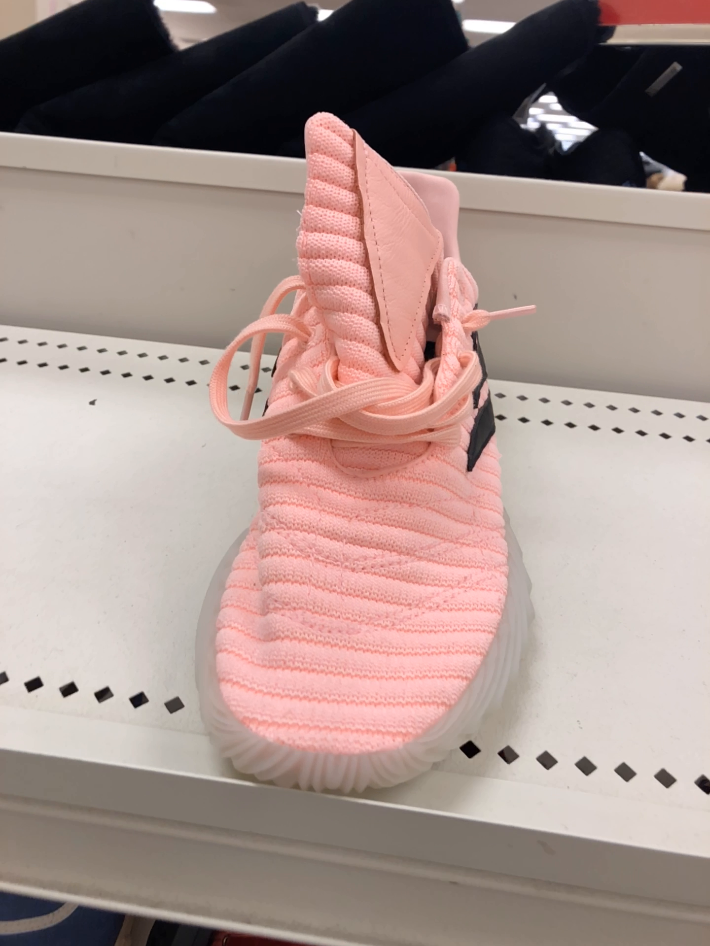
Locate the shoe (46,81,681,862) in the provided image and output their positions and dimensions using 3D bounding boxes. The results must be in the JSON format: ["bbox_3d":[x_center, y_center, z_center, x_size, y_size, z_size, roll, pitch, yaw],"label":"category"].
[{"bbox_3d":[0.025,-0.051,0.325,0.120,0.169,0.323,8,31,8],"label":"shoe"}]
